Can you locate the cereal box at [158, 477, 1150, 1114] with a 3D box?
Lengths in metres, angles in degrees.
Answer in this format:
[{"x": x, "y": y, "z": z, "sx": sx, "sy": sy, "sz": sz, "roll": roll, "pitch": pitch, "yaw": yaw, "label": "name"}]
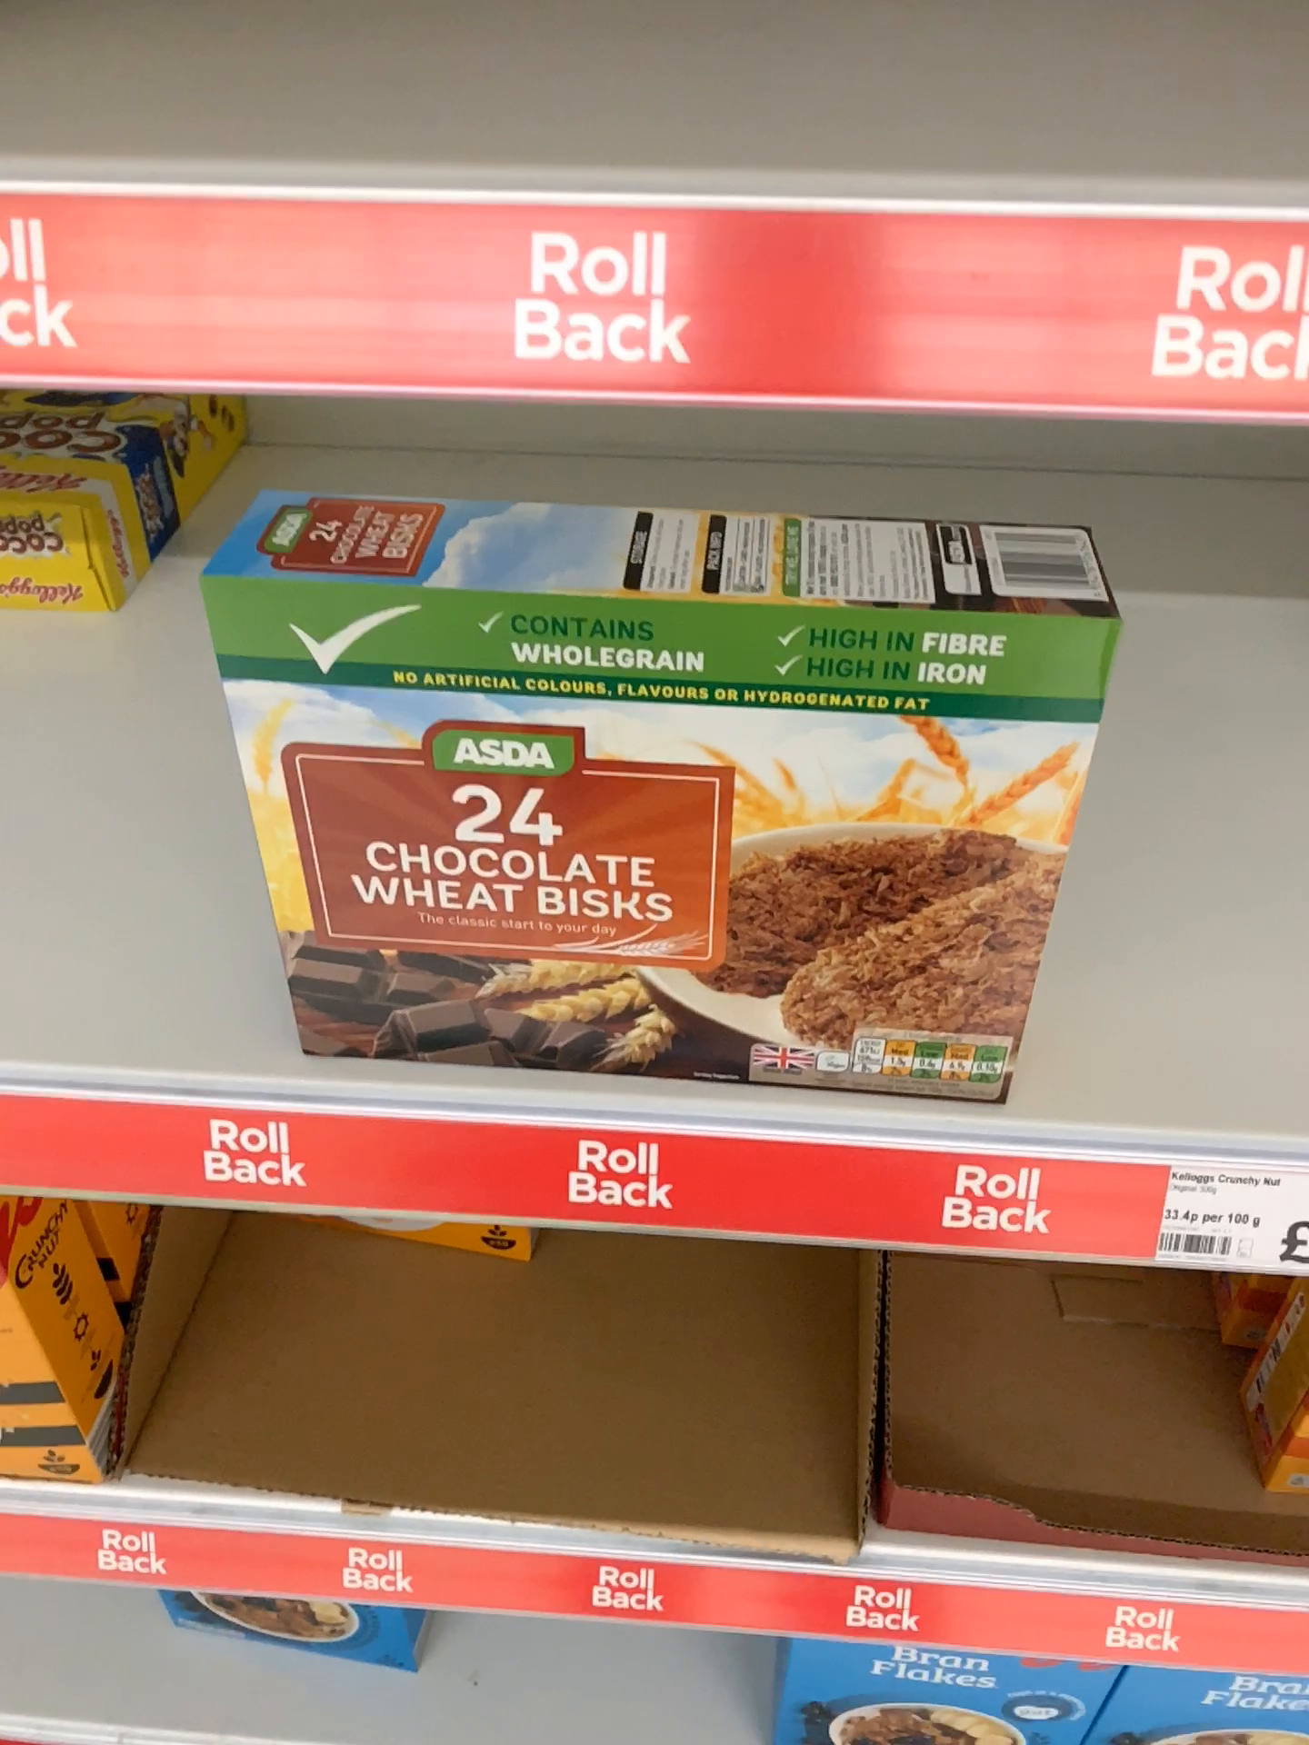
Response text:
[{"x": 0.000, "y": -0.019, "z": 0.422, "sx": 0.250, "sy": 0.178, "sz": 0.071, "roll": 4, "pitch": 40, "yaw": 4, "label": "cereal box"}]
